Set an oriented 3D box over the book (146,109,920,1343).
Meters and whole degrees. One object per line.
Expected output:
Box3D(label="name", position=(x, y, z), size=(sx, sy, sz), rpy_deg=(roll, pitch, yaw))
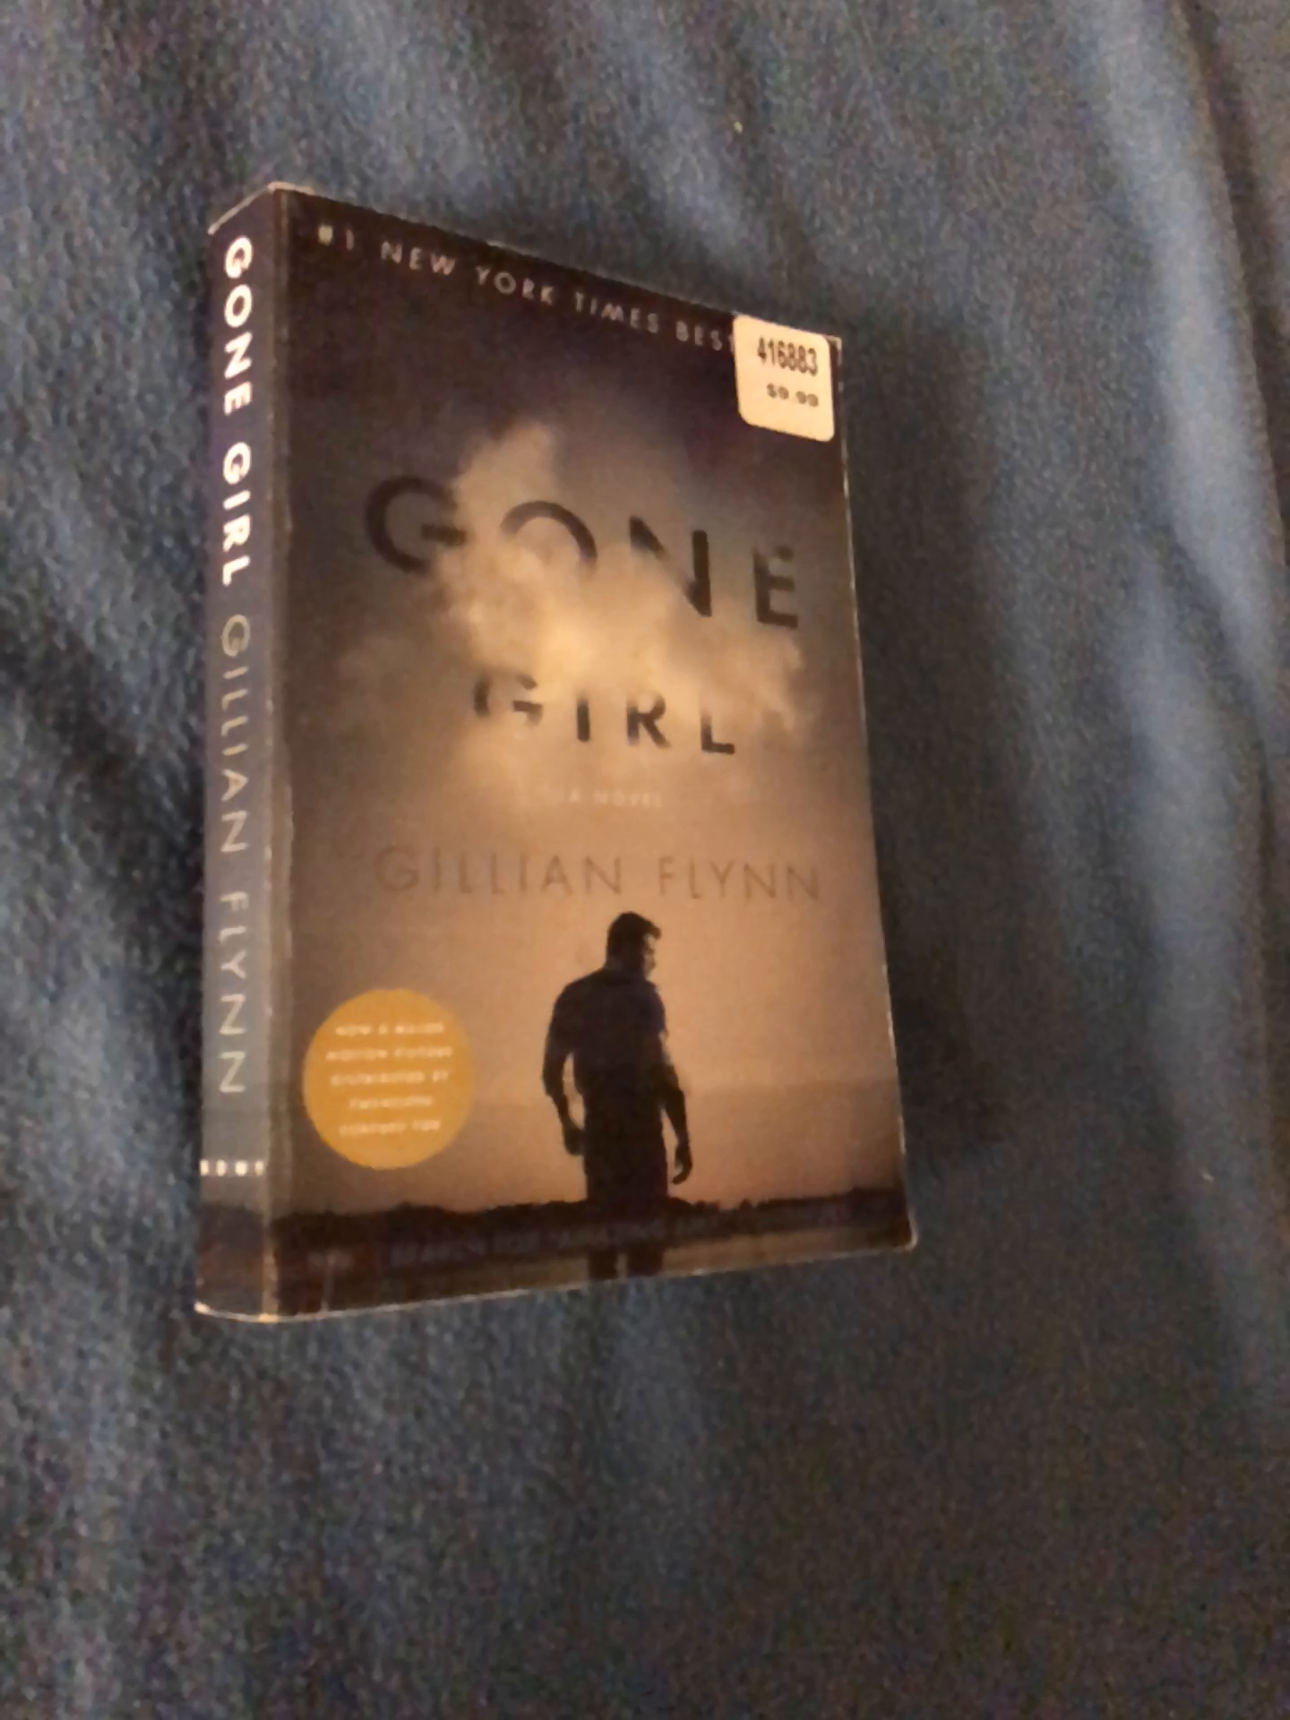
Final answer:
Box3D(label="book", position=(-0.018, -0.021, 0.277), size=(0.140, 0.040, 0.200), rpy_deg=(3, 81, -31))
